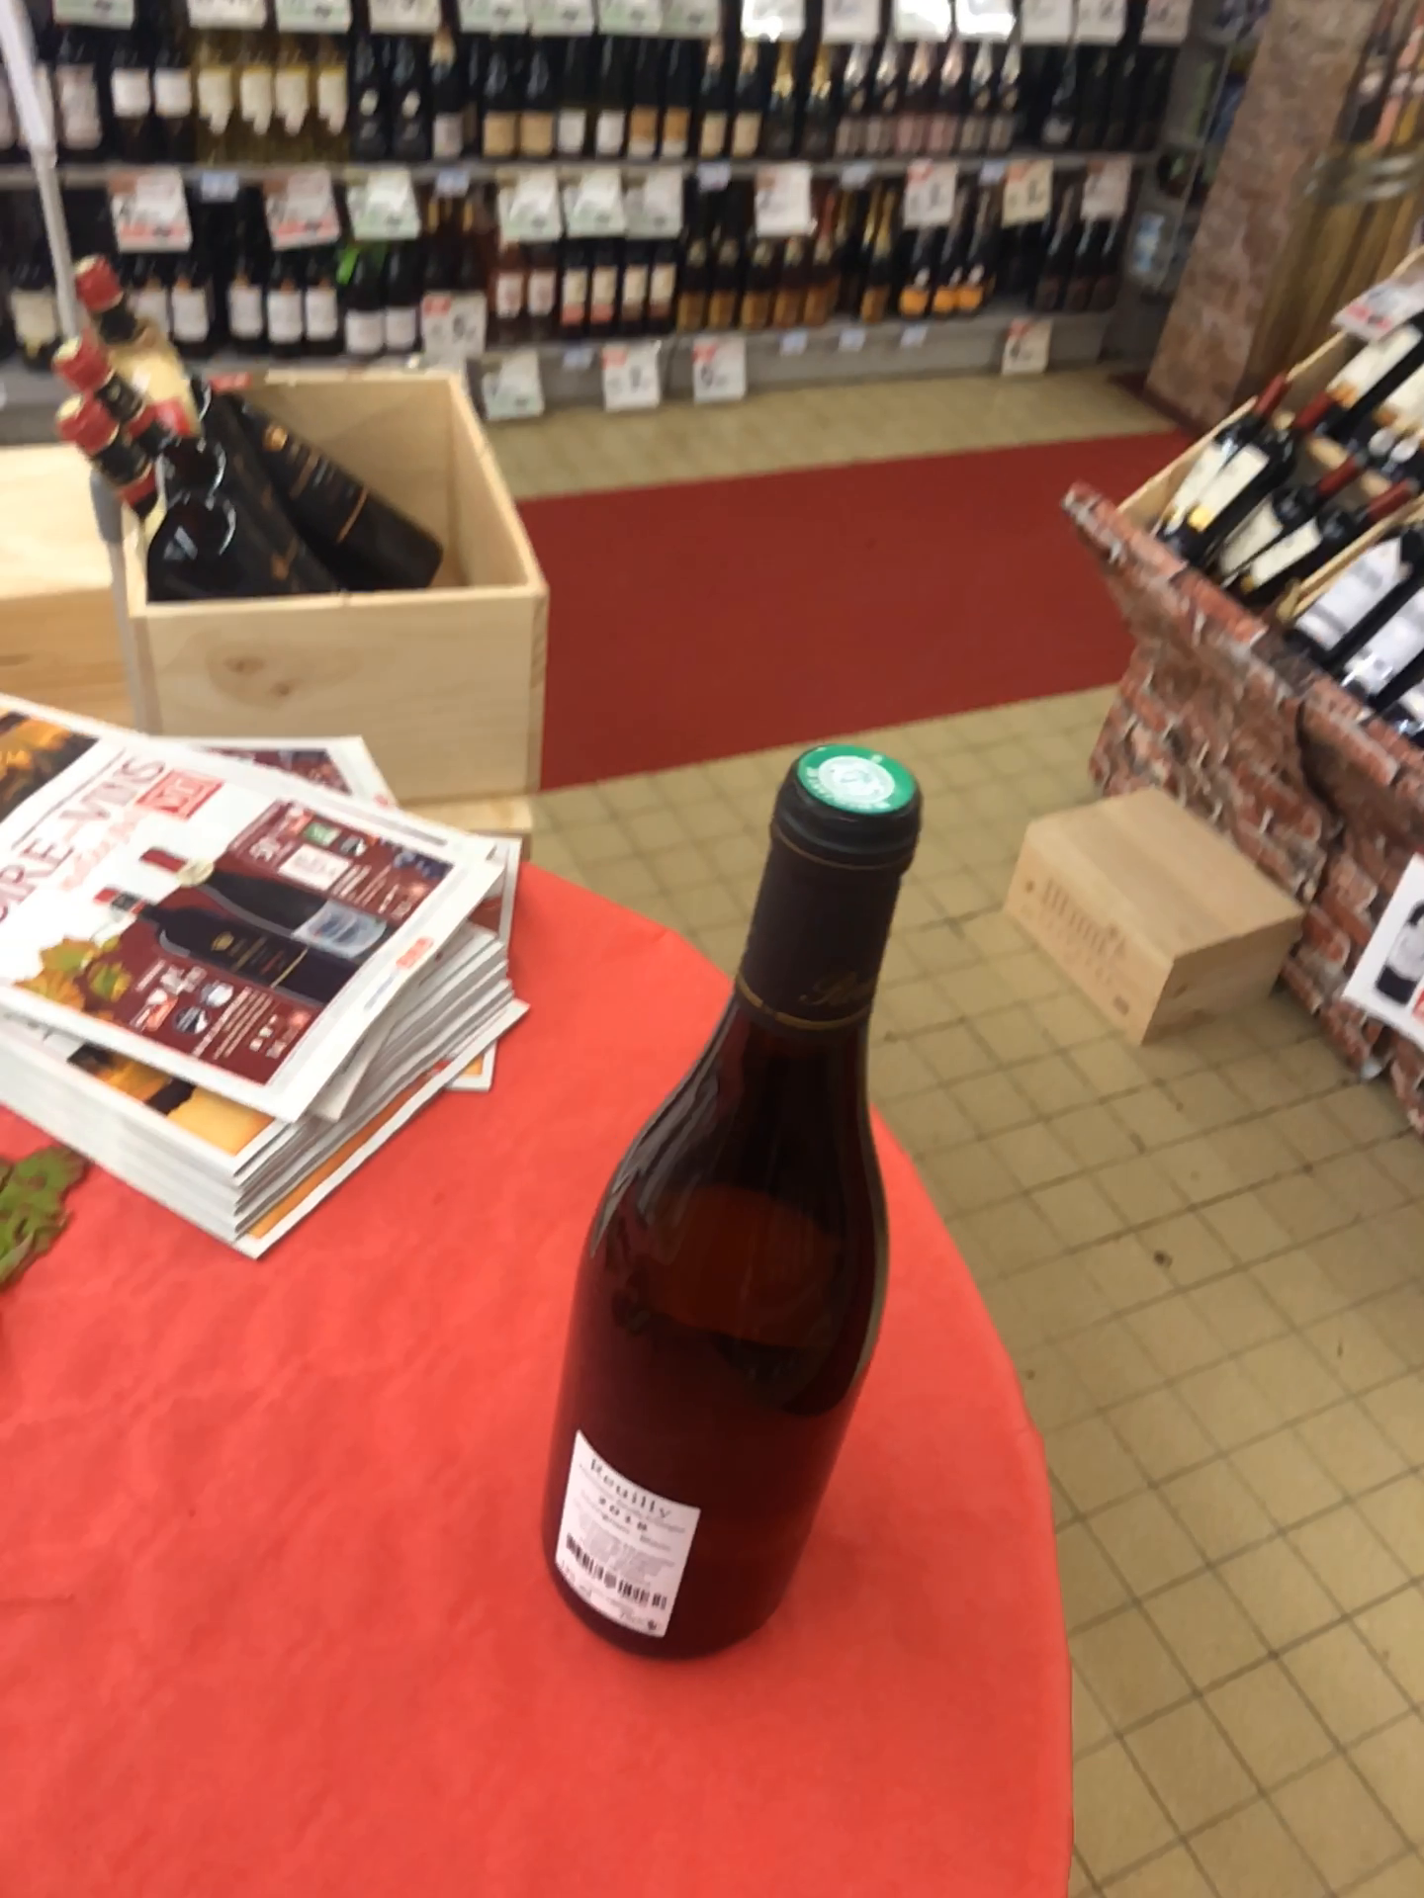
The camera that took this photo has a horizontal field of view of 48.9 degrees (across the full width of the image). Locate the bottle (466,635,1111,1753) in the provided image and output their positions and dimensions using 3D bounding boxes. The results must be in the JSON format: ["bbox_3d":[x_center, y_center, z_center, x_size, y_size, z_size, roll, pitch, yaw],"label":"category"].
[{"bbox_3d":[0.004,0.077,0.389,0.090,0.278,0.091,5,41,-4],"label":"bottle"}]
